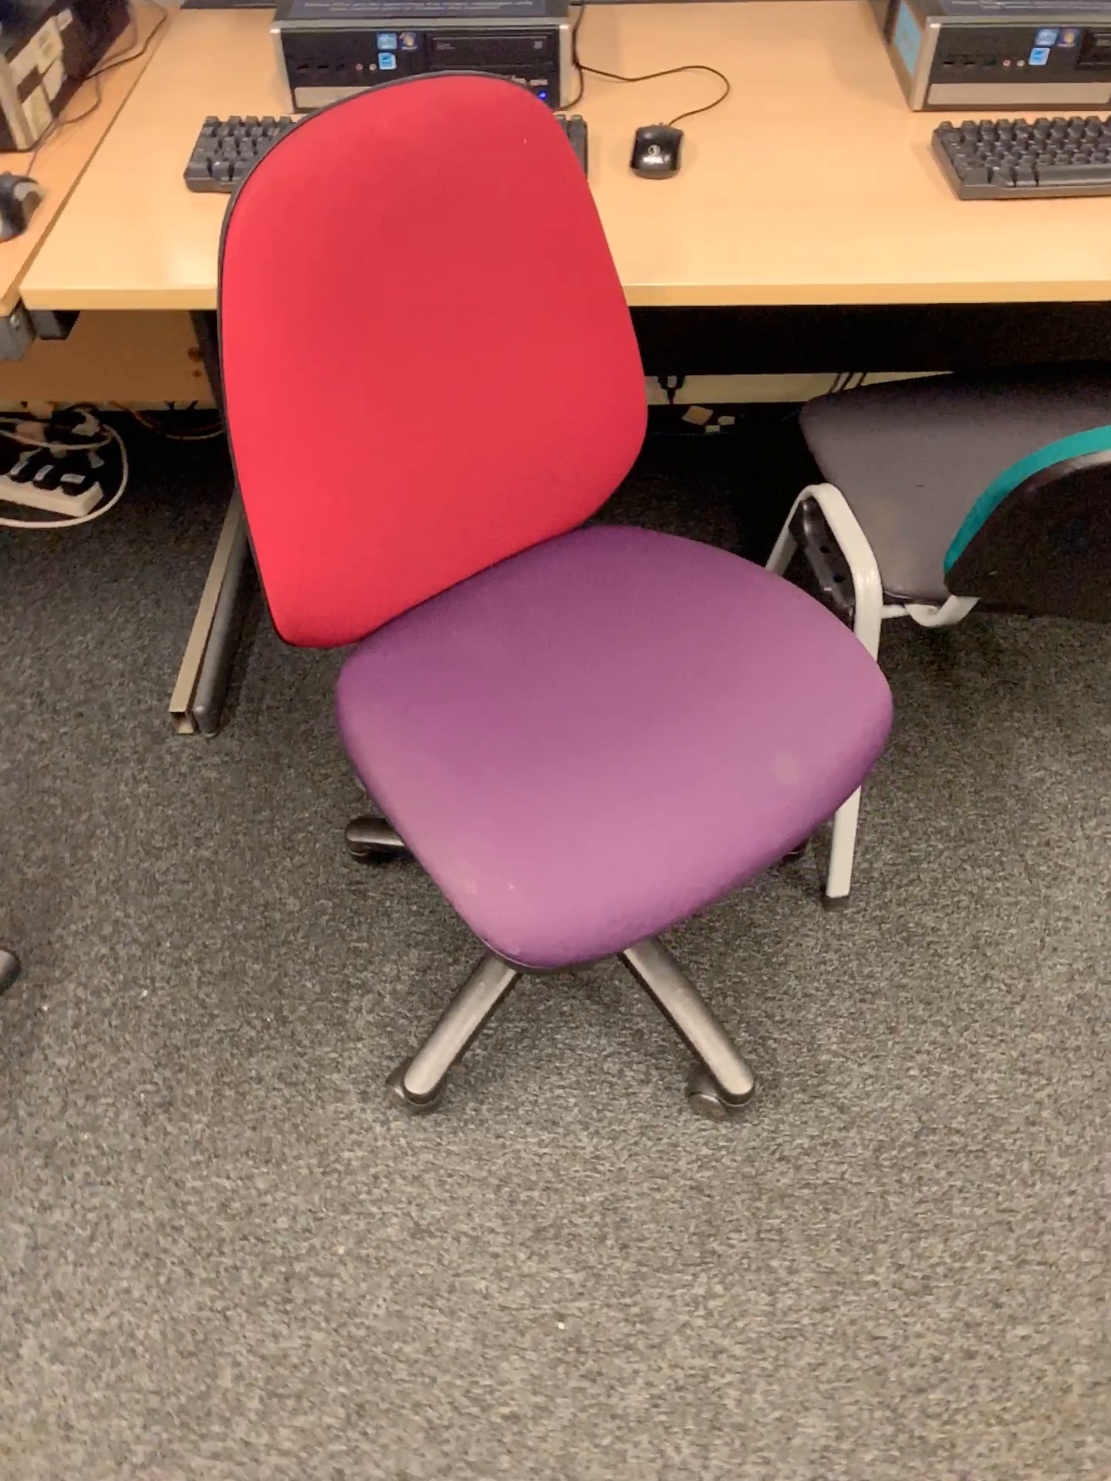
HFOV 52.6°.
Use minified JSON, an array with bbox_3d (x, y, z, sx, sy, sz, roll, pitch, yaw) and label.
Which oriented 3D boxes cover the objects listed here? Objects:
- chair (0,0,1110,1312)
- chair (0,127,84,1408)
[{"bbox_3d":[0.031,-0.061,1.040,0.655,0.869,0.602,-28,54,-21],"label":"chair"},{"bbox_3d":[-0.883,0.084,0.910,0.598,0.830,0.608,-4,50,-2],"label":"chair"}]
